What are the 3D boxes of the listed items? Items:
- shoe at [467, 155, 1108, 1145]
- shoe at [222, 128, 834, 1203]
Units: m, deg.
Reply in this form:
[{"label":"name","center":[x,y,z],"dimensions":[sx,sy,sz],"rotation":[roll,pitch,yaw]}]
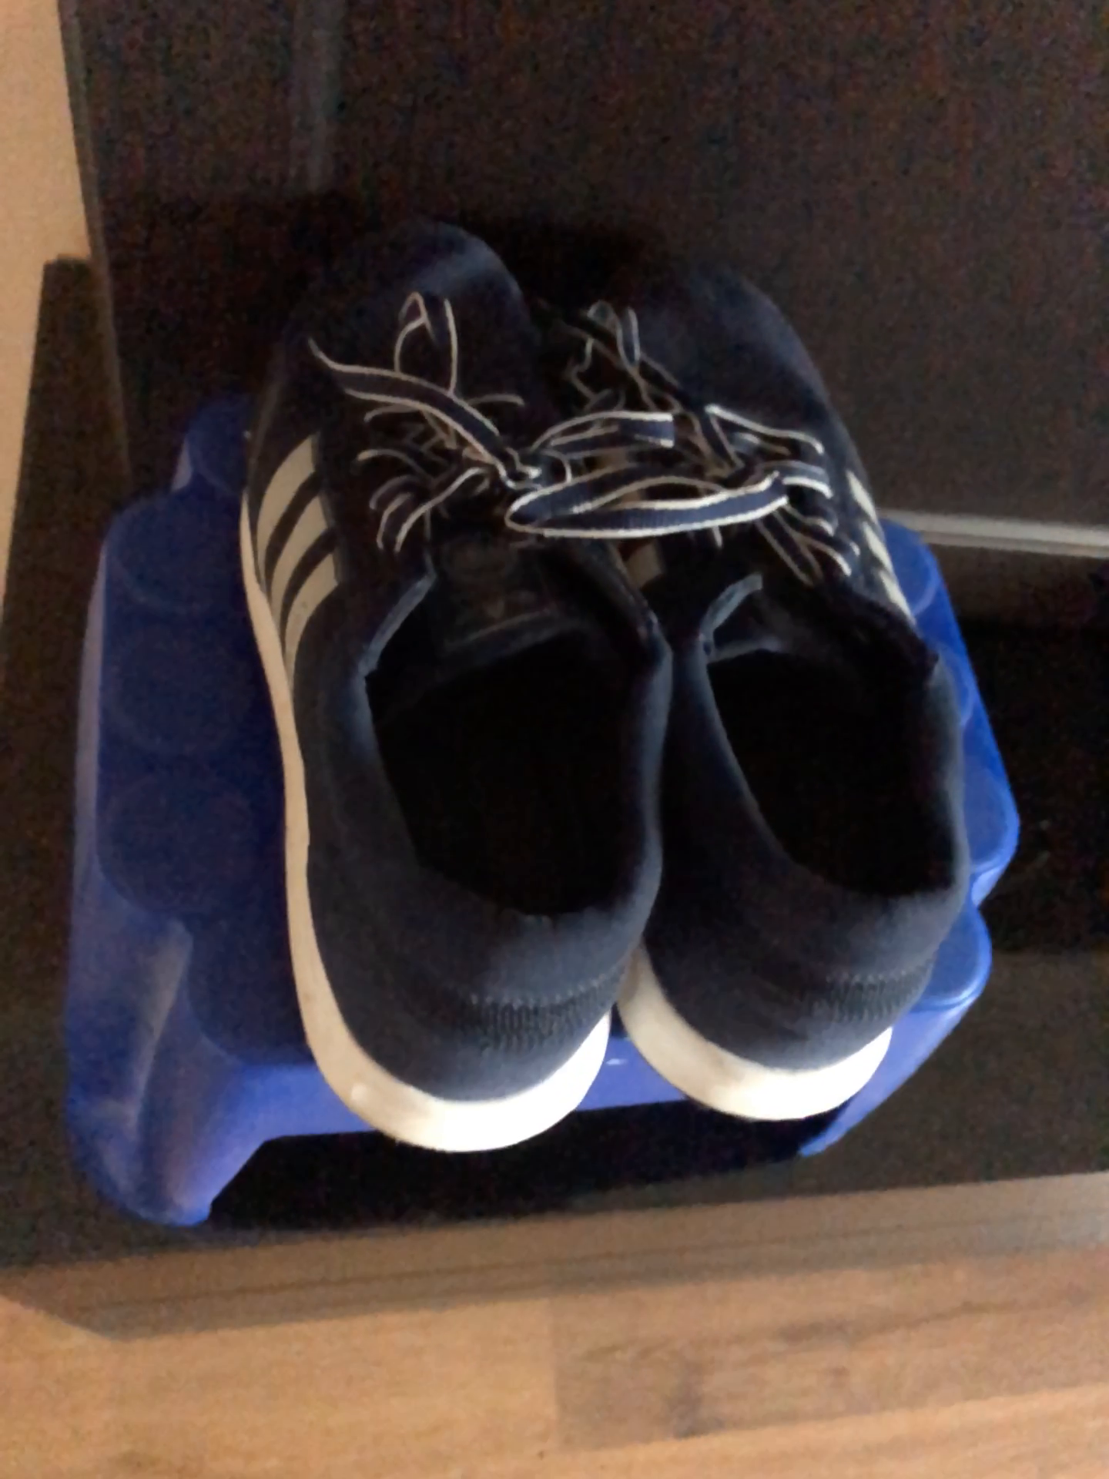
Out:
[{"label":"shoe","center":[0.046,-0.030,0.363],"dimensions":[0.110,0.109,0.261],"rotation":[1,62,-14]},{"label":"shoe","center":[-0.029,-0.026,0.337],"dimensions":[0.110,0.109,0.261],"rotation":[-2,63,-15]}]
